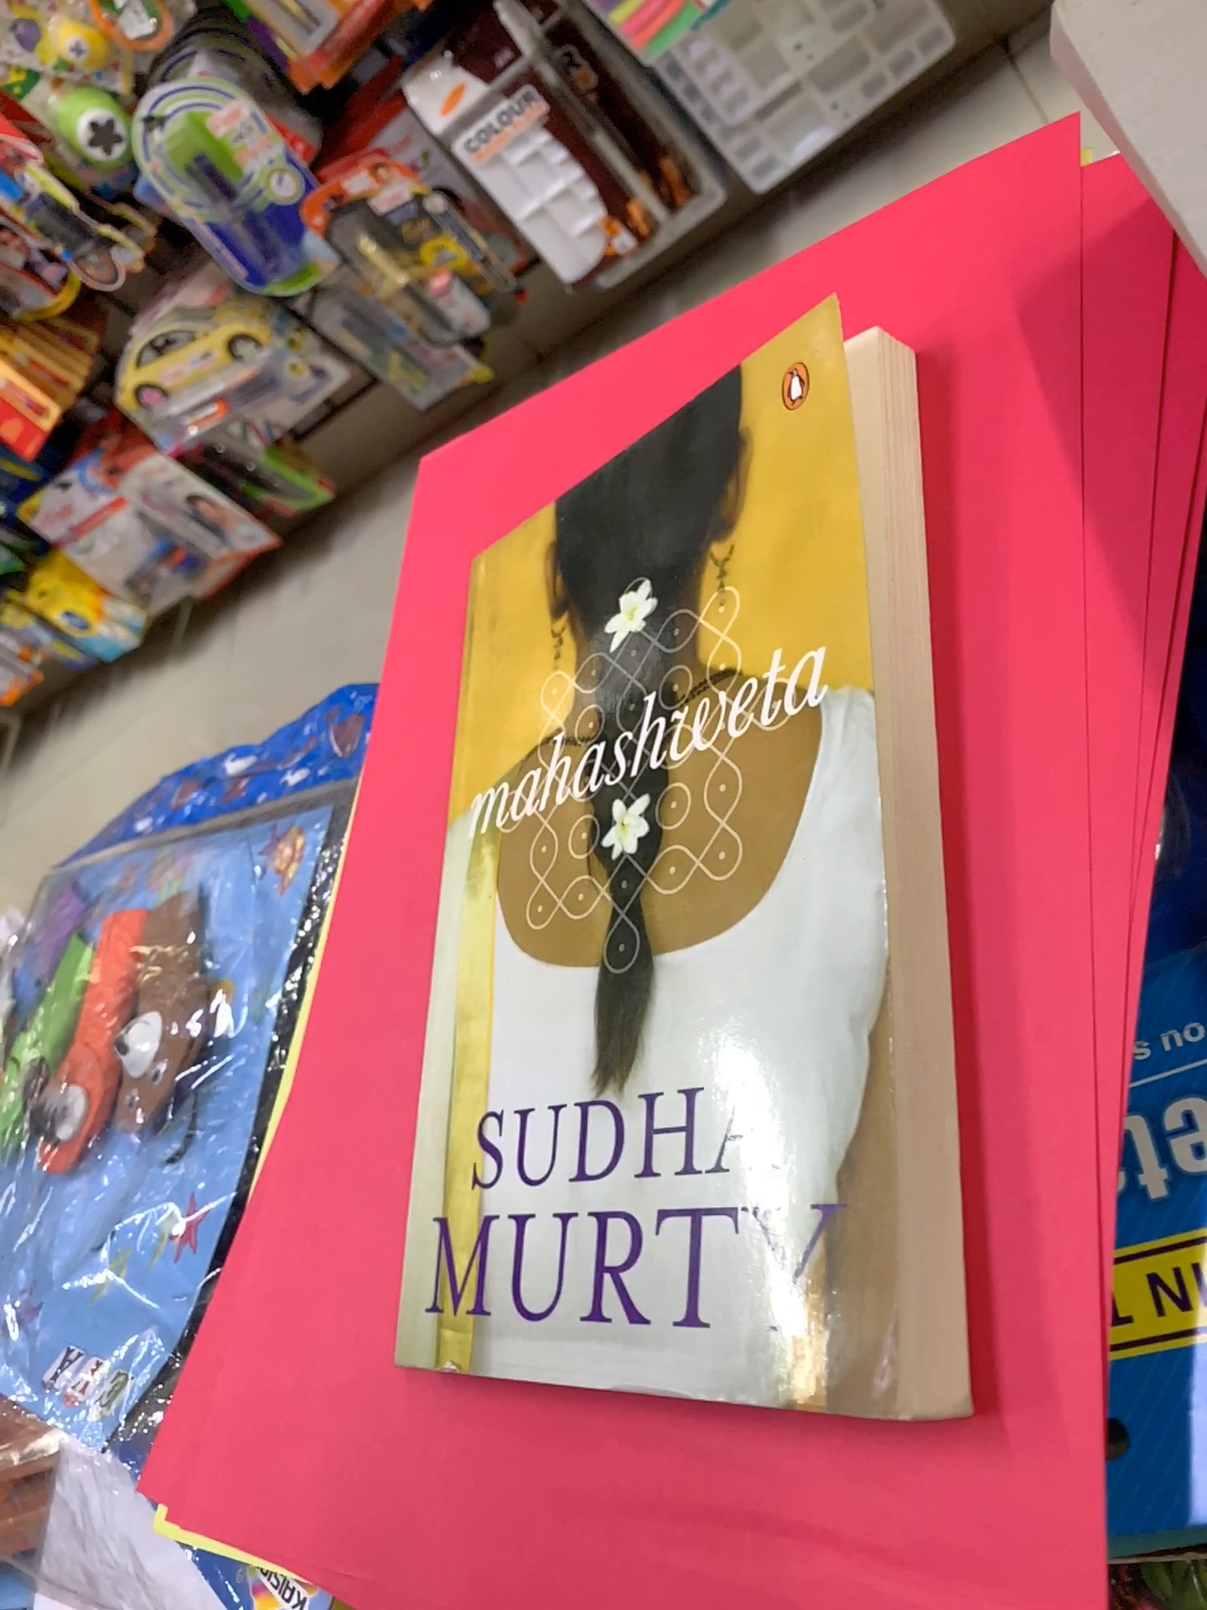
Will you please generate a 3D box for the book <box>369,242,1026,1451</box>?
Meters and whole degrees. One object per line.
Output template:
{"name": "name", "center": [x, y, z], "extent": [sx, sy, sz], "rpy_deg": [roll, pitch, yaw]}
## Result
{"name": "book", "center": [0.008, 0.009, 0.252], "extent": [0.140, 0.020, 0.201], "rpy_deg": [-22, 57, 46]}
